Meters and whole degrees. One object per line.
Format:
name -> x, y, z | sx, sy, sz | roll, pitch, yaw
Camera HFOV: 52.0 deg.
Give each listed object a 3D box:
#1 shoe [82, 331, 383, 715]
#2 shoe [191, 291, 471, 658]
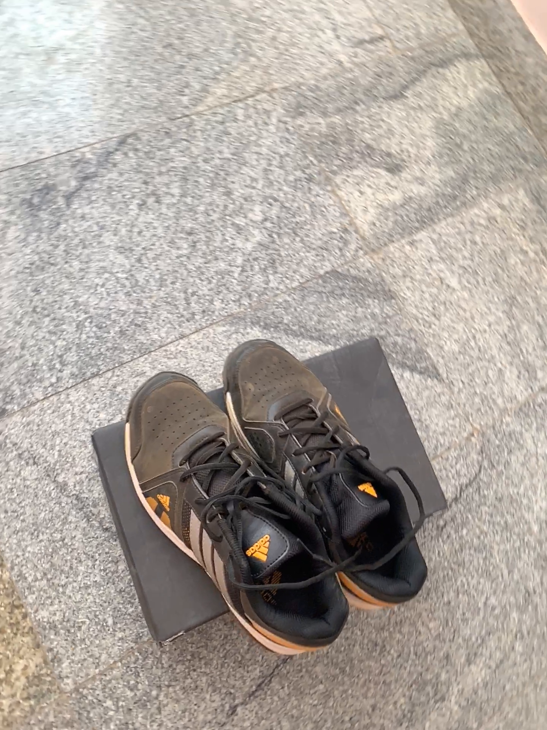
shoe -> -0.045, 0.133, 0.511 | 0.110, 0.090, 0.300 | -30, 84, -27
shoe -> 0.043, 0.093, 0.521 | 0.110, 0.090, 0.290 | -26, 82, -19
